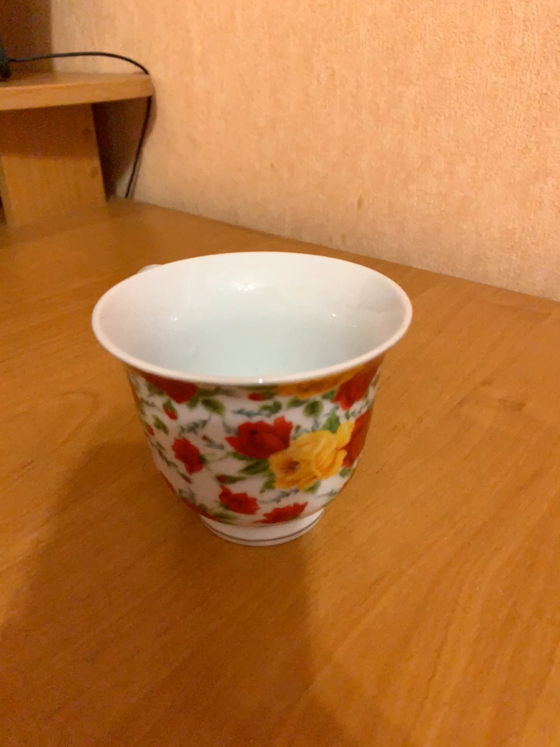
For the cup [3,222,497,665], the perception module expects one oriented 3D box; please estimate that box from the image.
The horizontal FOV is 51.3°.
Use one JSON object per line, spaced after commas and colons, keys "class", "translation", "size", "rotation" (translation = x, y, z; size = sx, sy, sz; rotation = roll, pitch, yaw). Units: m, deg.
{"class": "cup", "translation": [-0.014, 0.004, 0.195], "size": [0.100, 0.067, 0.120], "rotation": [-23, 36, -33]}
